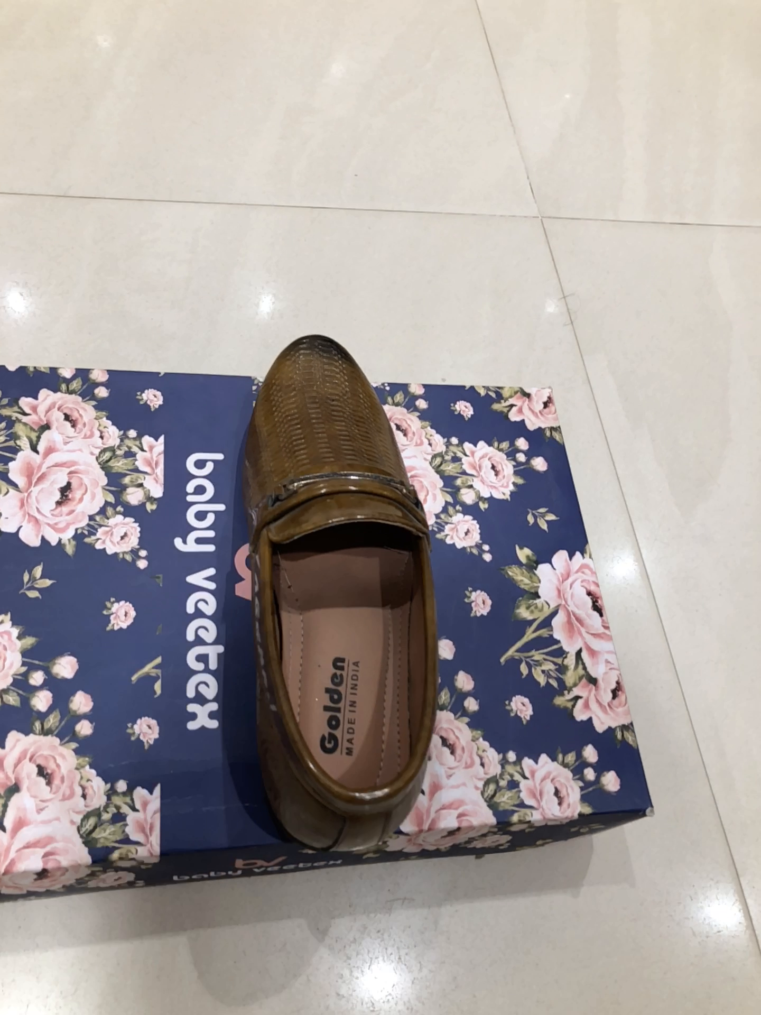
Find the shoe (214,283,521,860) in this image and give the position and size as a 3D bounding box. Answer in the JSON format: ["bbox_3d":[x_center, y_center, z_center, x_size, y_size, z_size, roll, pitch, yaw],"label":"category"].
[{"bbox_3d":[-0.017,0.023,0.340,0.090,0.080,0.211,0,65,-14],"label":"shoe"}]
